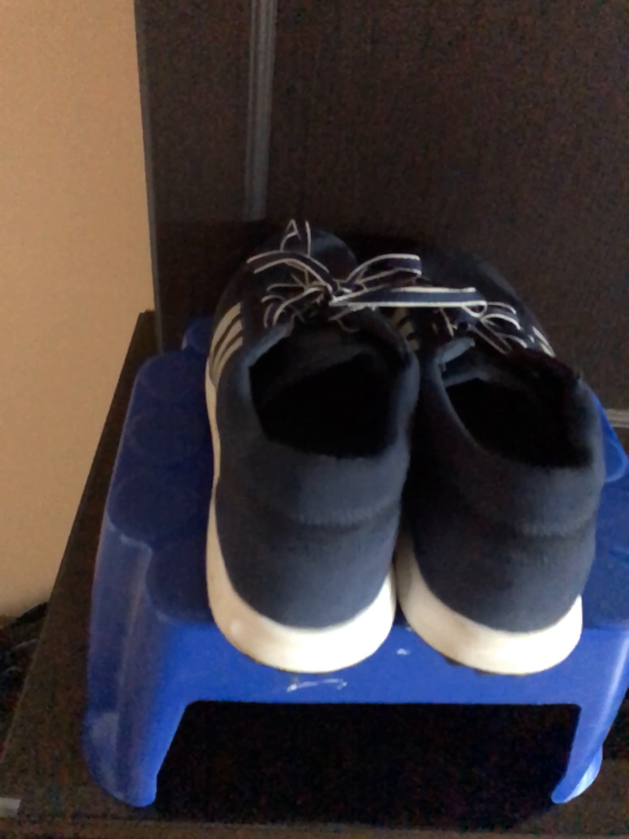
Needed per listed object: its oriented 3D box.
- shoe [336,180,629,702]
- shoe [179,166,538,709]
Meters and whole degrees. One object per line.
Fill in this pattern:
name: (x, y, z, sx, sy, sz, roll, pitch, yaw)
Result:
shoe: (0.078, -0.009, 0.355, 0.110, 0.109, 0.262, 4, 43, -5)
shoe: (0.000, -0.012, 0.340, 0.110, 0.109, 0.262, 2, 43, -7)
